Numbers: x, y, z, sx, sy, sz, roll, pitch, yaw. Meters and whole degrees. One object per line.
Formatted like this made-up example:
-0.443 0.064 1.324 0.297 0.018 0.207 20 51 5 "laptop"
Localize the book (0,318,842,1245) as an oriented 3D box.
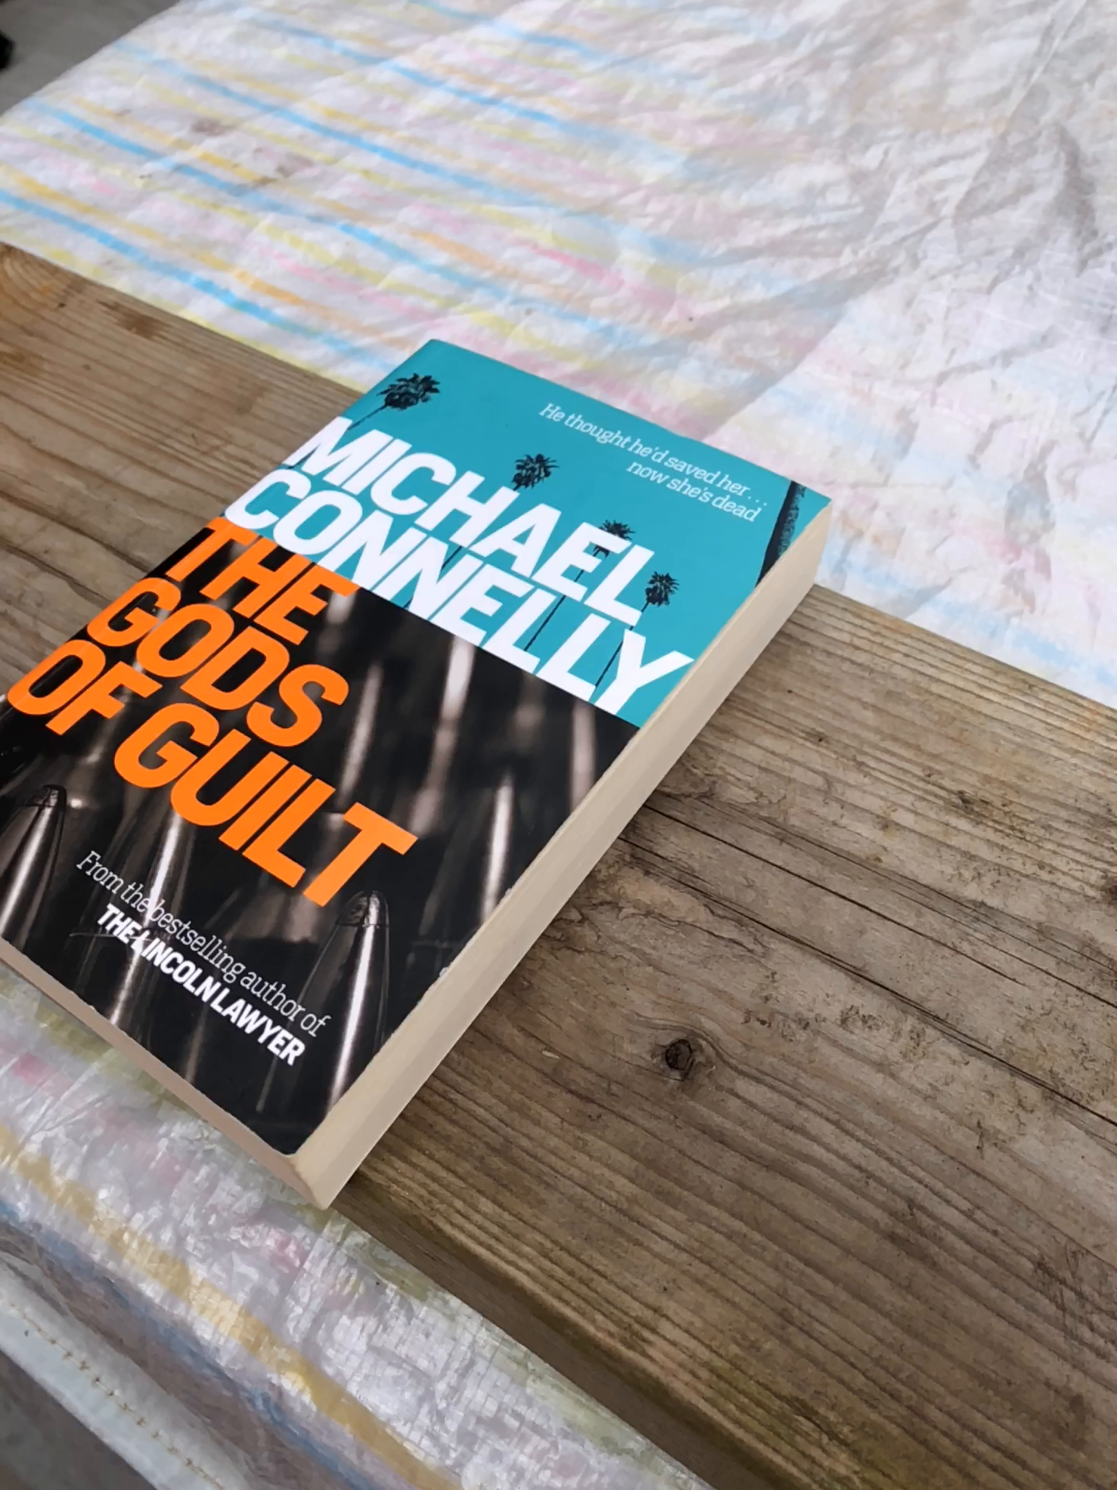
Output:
-0.045 -0.013 0.299 0.140 0.040 0.201 28 59 22 "book"
